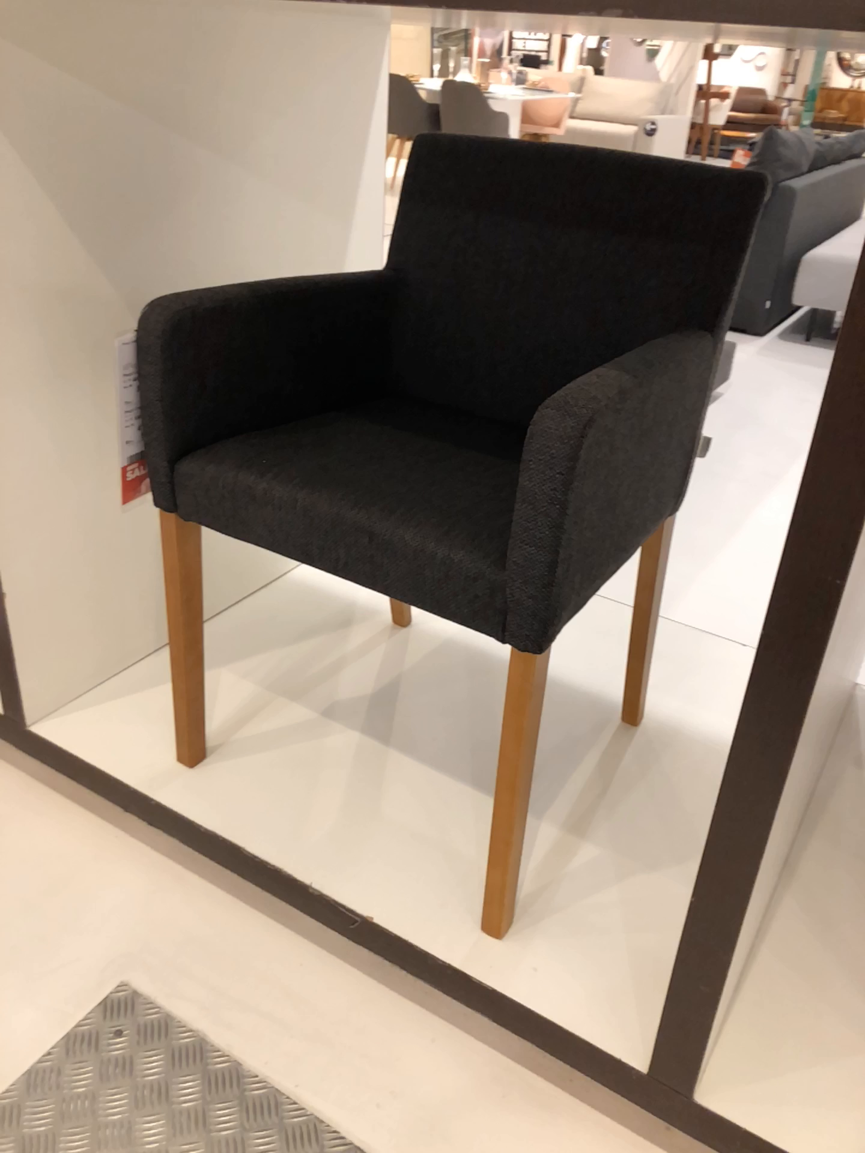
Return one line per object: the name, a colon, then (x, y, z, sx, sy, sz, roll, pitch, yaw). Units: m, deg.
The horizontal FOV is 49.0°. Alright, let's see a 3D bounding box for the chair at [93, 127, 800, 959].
chair: (0.018, -0.108, 1.227, 0.561, 0.794, 0.563, 21, 33, 27)
